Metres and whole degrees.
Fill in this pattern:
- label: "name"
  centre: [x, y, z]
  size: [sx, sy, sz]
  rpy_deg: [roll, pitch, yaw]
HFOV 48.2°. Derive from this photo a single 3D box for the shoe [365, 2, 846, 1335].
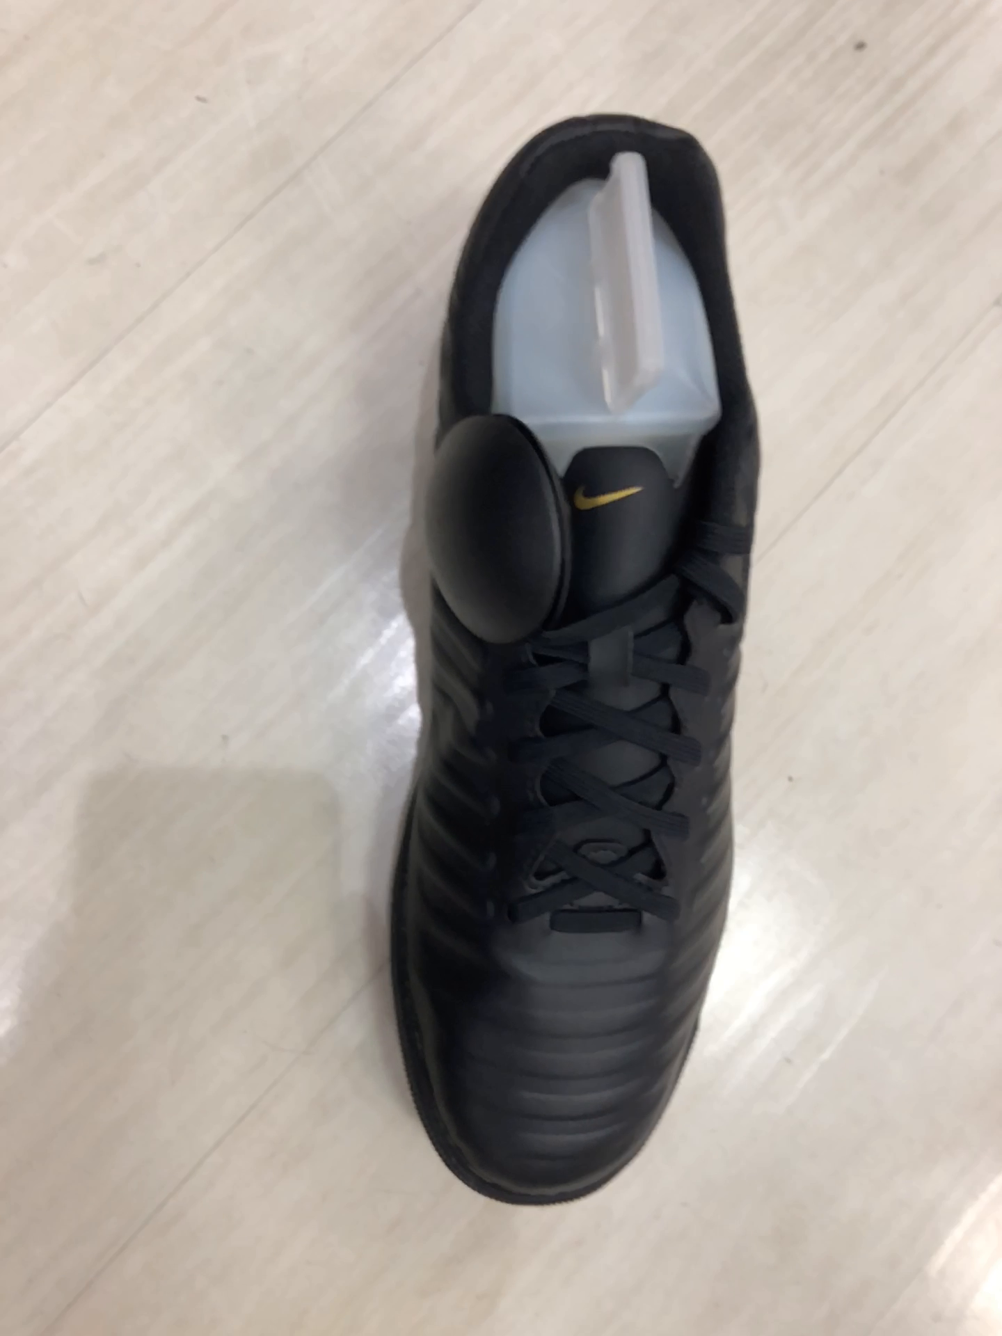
- label: "shoe"
  centre: [0.019, 0.004, 0.294]
  size: [0.100, 0.110, 0.290]
  rpy_deg: [1, 86, -6]
